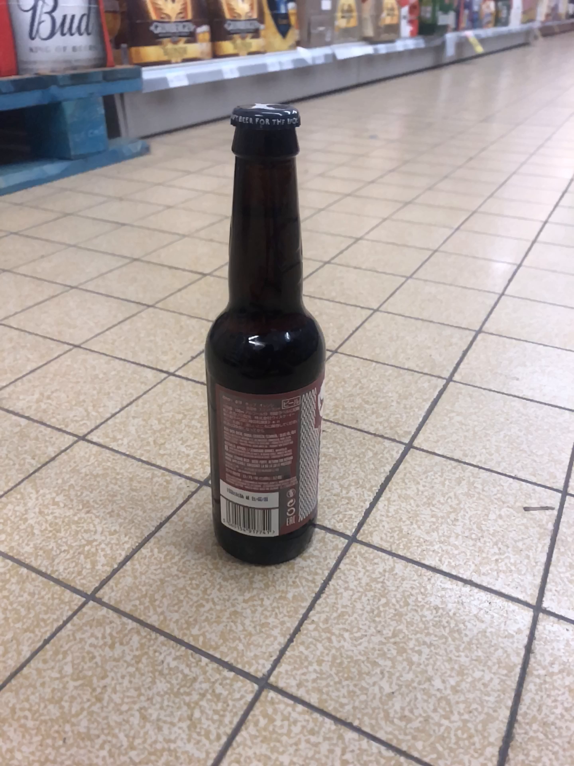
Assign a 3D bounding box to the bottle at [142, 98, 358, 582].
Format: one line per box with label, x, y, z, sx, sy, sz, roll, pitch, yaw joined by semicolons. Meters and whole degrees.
bottle;-0.010;-0.013;0.294;0.070;0.209;0.070;0;30;0
